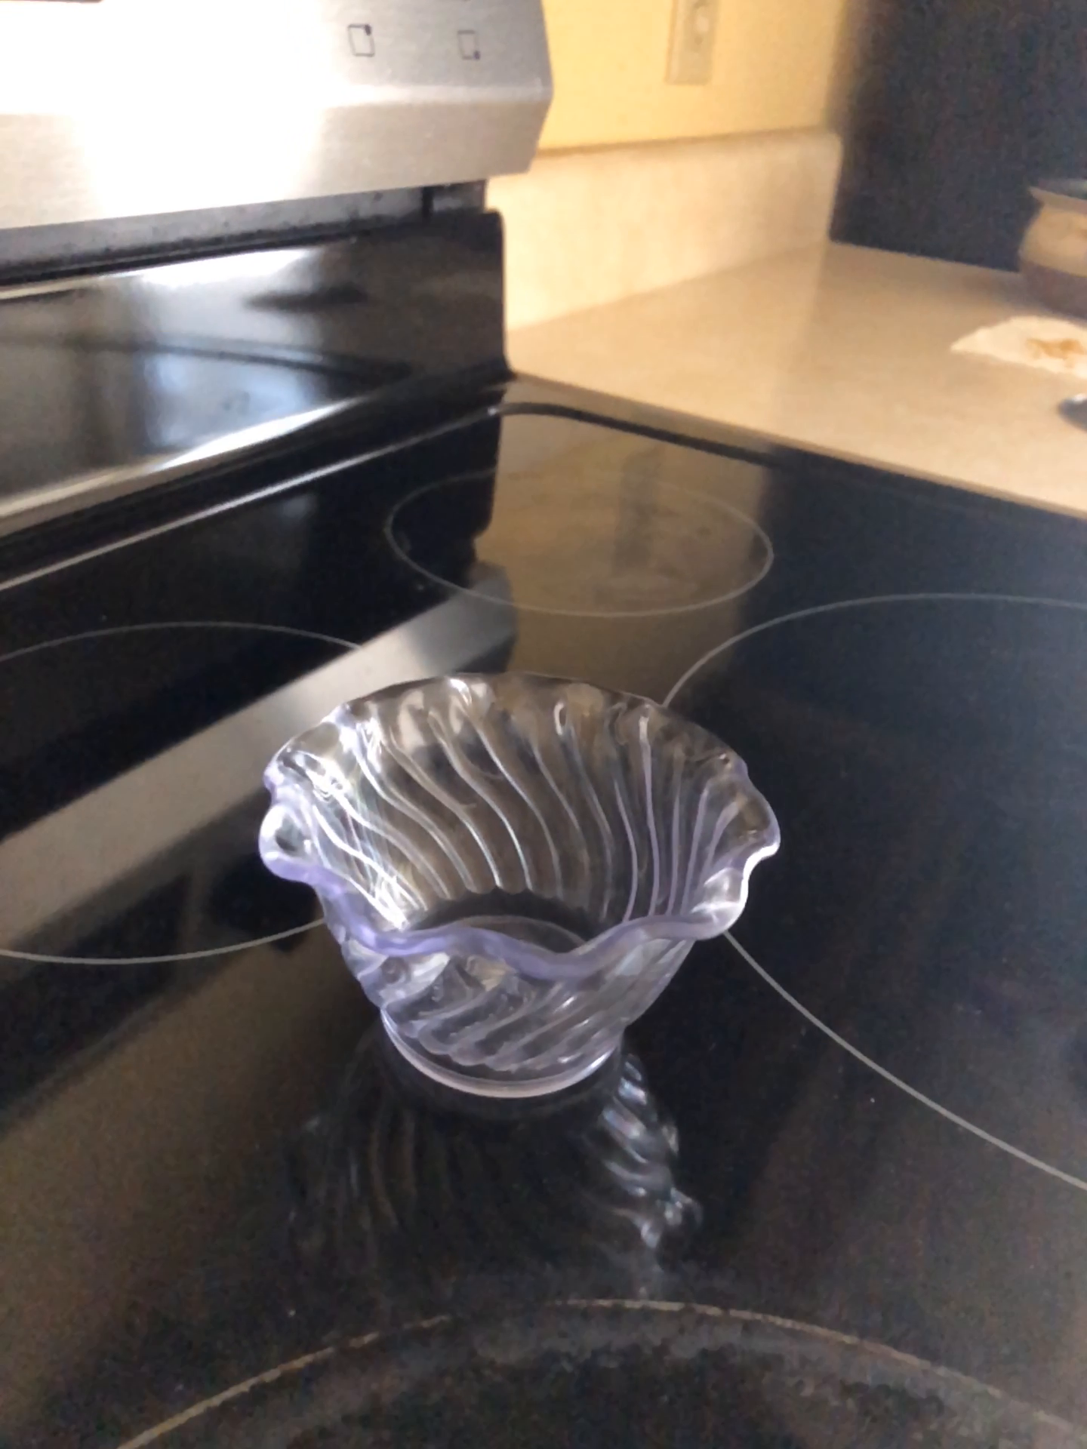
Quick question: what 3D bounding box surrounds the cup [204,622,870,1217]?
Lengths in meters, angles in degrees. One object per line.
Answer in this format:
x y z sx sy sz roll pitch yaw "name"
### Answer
-0.007 0.028 0.235 0.091 0.049 0.091 3 30 -2 "cup"
